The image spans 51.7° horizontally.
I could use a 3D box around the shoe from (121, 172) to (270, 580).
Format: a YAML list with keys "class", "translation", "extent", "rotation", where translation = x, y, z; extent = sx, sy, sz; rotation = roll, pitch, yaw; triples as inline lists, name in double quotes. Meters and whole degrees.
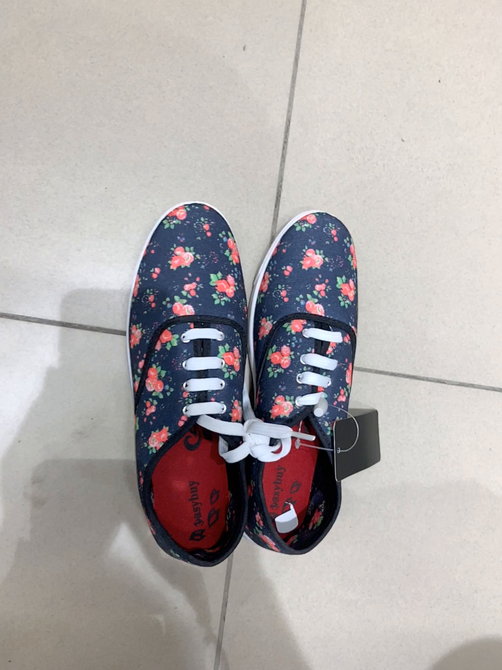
- class: "shoe"
  translation: [-0.045, 0.027, 0.394]
  extent: [0.100, 0.080, 0.270]
  rotation: [1, 87, -13]

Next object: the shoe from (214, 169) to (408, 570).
- class: "shoe"
  translation: [0.044, 0.026, 0.402]
  extent: [0.100, 0.080, 0.270]
  rotation: [8, 85, -13]
